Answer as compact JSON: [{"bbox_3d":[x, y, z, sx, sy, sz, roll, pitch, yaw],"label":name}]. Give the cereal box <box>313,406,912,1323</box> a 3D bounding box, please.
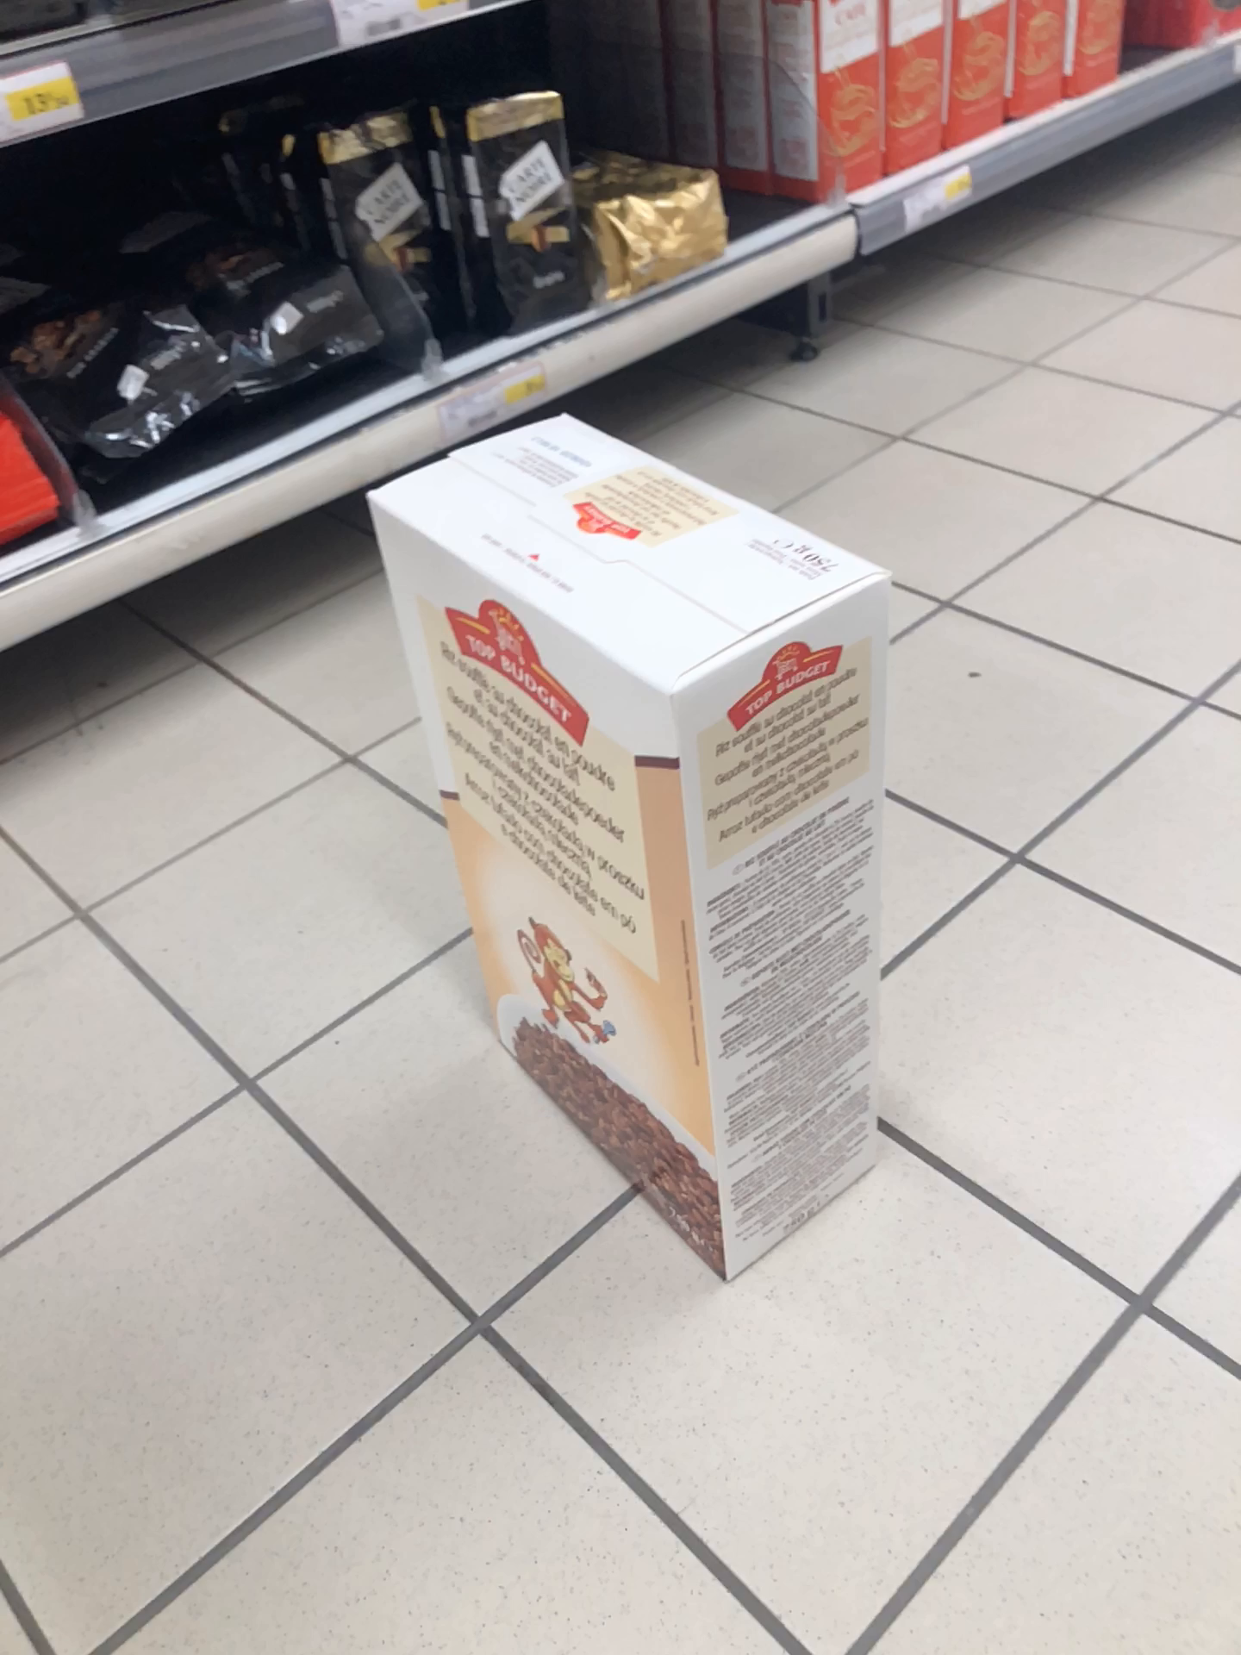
[{"bbox_3d":[0.004,0.018,0.583,0.110,0.318,0.210,-29,44,-24],"label":"cereal box"}]
